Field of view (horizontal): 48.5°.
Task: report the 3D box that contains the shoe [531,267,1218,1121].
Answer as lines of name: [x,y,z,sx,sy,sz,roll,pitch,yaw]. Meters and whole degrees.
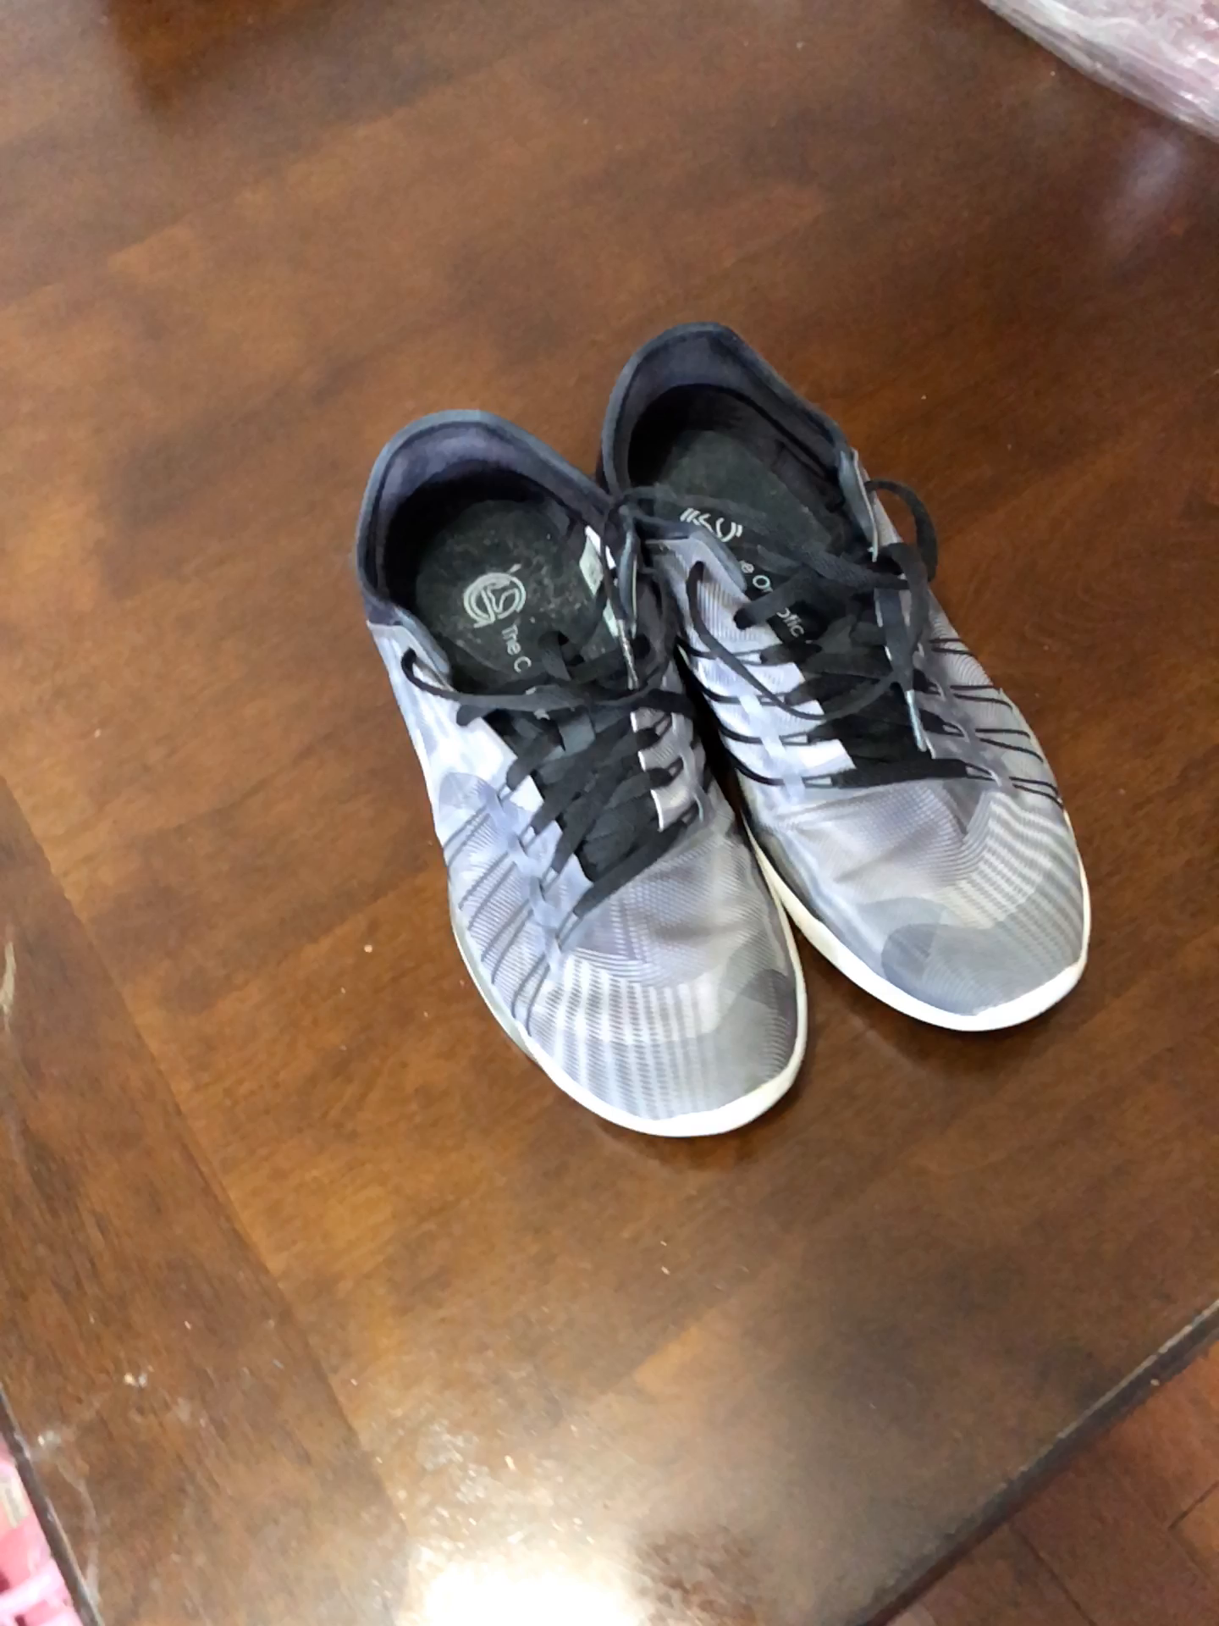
shoe: [0.074,-0.043,0.402,0.100,0.080,0.230,-25,62,-8]

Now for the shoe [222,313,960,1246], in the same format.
shoe: [-0.013,-0.017,0.380,0.100,0.090,0.230,-24,62,-7]
